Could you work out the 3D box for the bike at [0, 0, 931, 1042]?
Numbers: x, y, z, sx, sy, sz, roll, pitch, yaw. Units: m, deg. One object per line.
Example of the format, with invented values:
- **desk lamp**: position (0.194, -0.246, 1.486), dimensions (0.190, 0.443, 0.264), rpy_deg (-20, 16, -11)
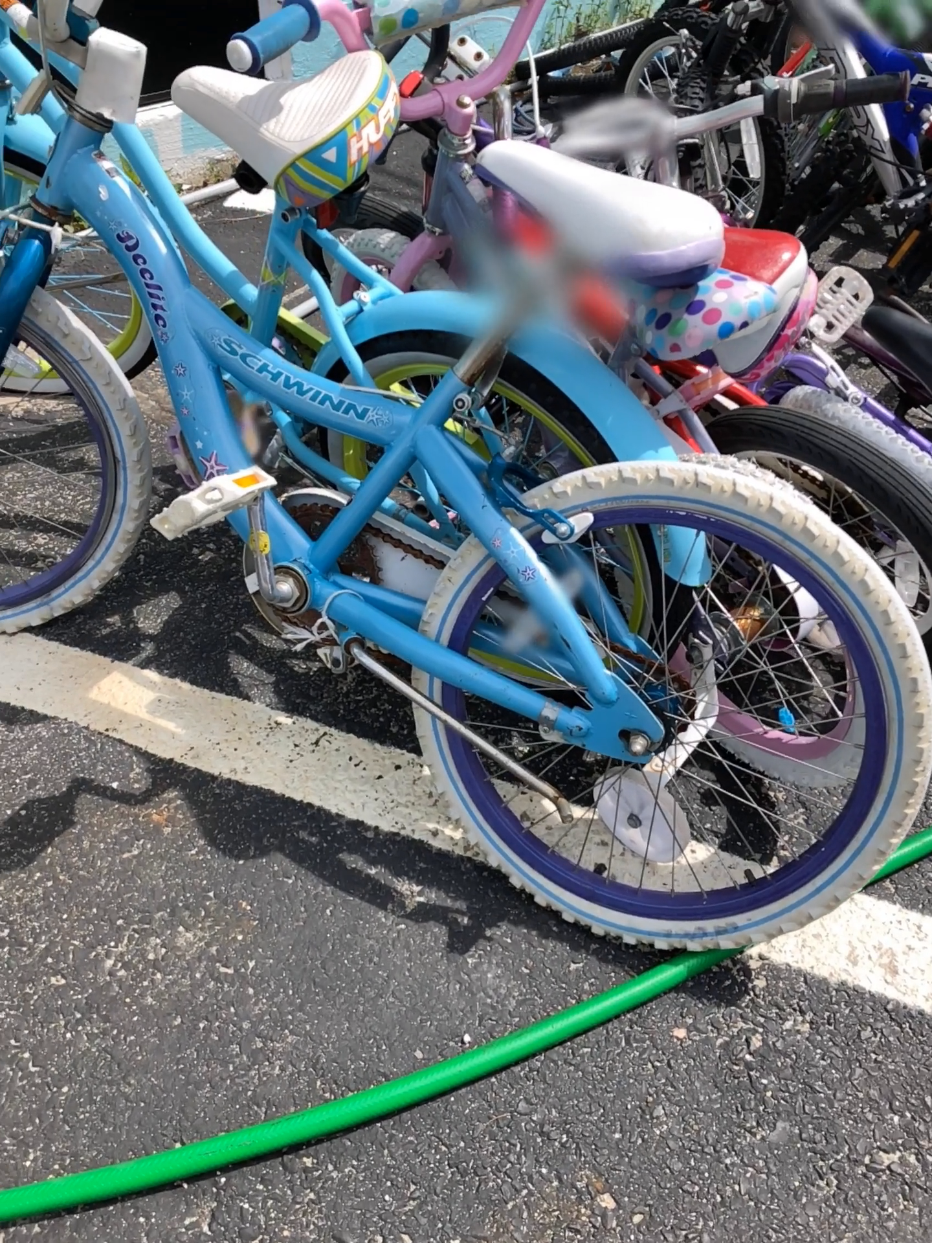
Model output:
- **bike**: position (-0.135, -0.304, 0.919), dimensions (1.265, 0.777, 0.559), rpy_deg (19, 44, 10)
